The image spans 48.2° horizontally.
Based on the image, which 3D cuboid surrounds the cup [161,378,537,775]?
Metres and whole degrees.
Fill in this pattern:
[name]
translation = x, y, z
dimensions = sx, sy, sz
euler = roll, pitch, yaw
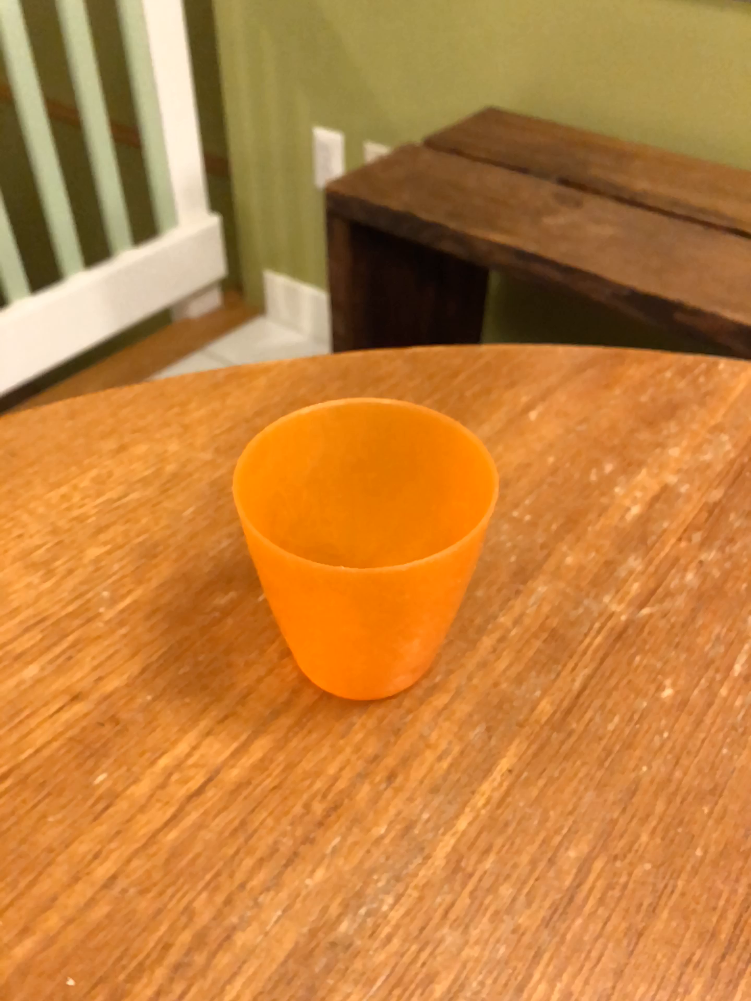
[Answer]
[cup]
translation = -0.005, 0.019, 0.264
dimensions = 0.079, 0.066, 0.080
euler = 1, 42, 0
